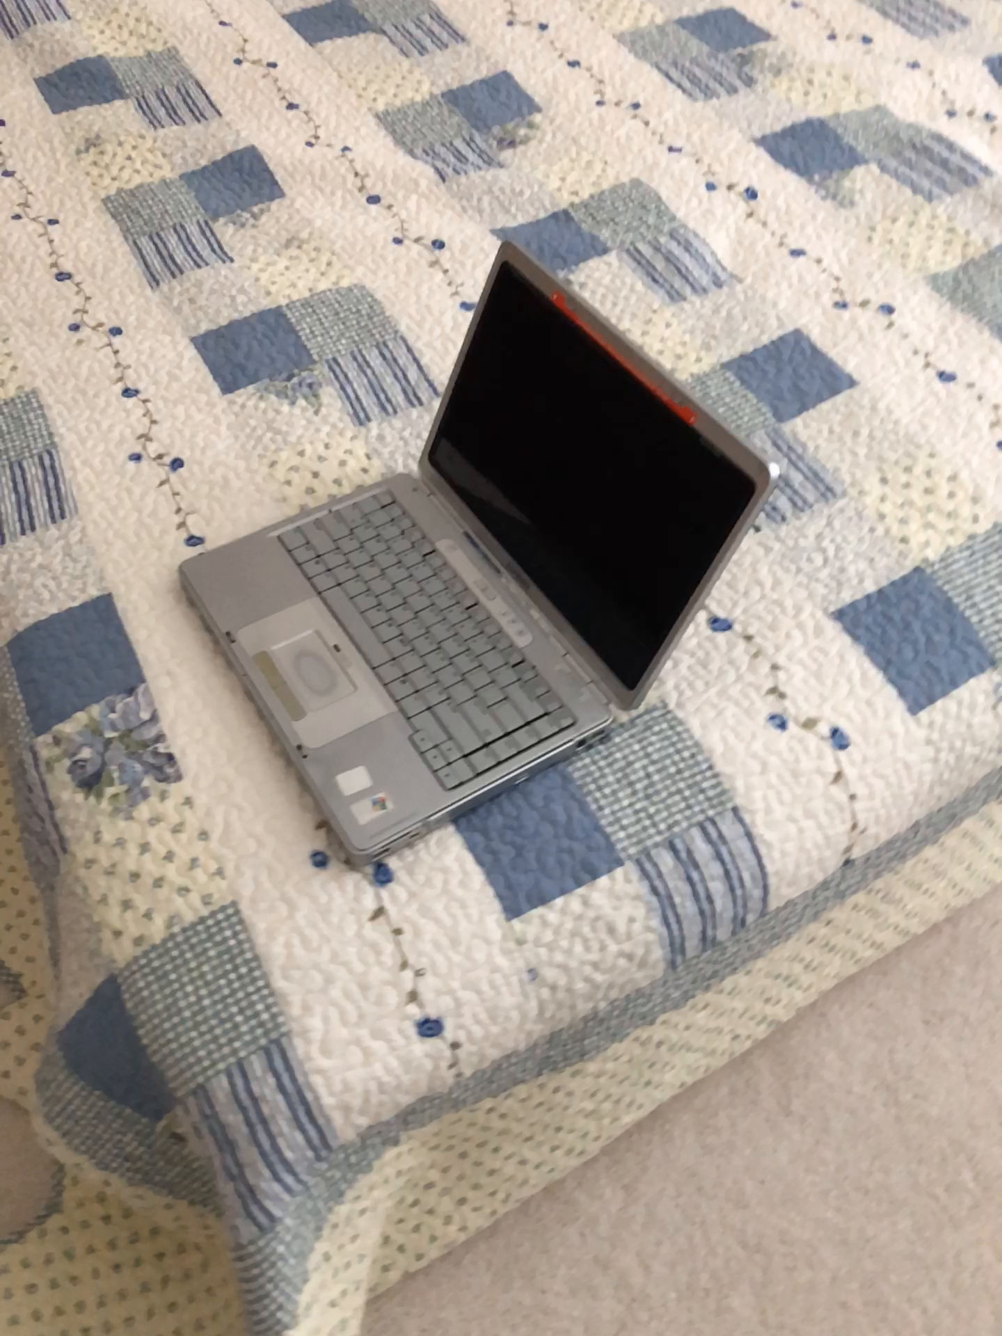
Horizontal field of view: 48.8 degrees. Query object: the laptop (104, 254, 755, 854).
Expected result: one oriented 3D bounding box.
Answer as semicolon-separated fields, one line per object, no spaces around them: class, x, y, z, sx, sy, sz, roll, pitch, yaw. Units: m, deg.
laptop;-0.054;-0.103;0.831;0.326;0.193;0.323;-26;57;-20
